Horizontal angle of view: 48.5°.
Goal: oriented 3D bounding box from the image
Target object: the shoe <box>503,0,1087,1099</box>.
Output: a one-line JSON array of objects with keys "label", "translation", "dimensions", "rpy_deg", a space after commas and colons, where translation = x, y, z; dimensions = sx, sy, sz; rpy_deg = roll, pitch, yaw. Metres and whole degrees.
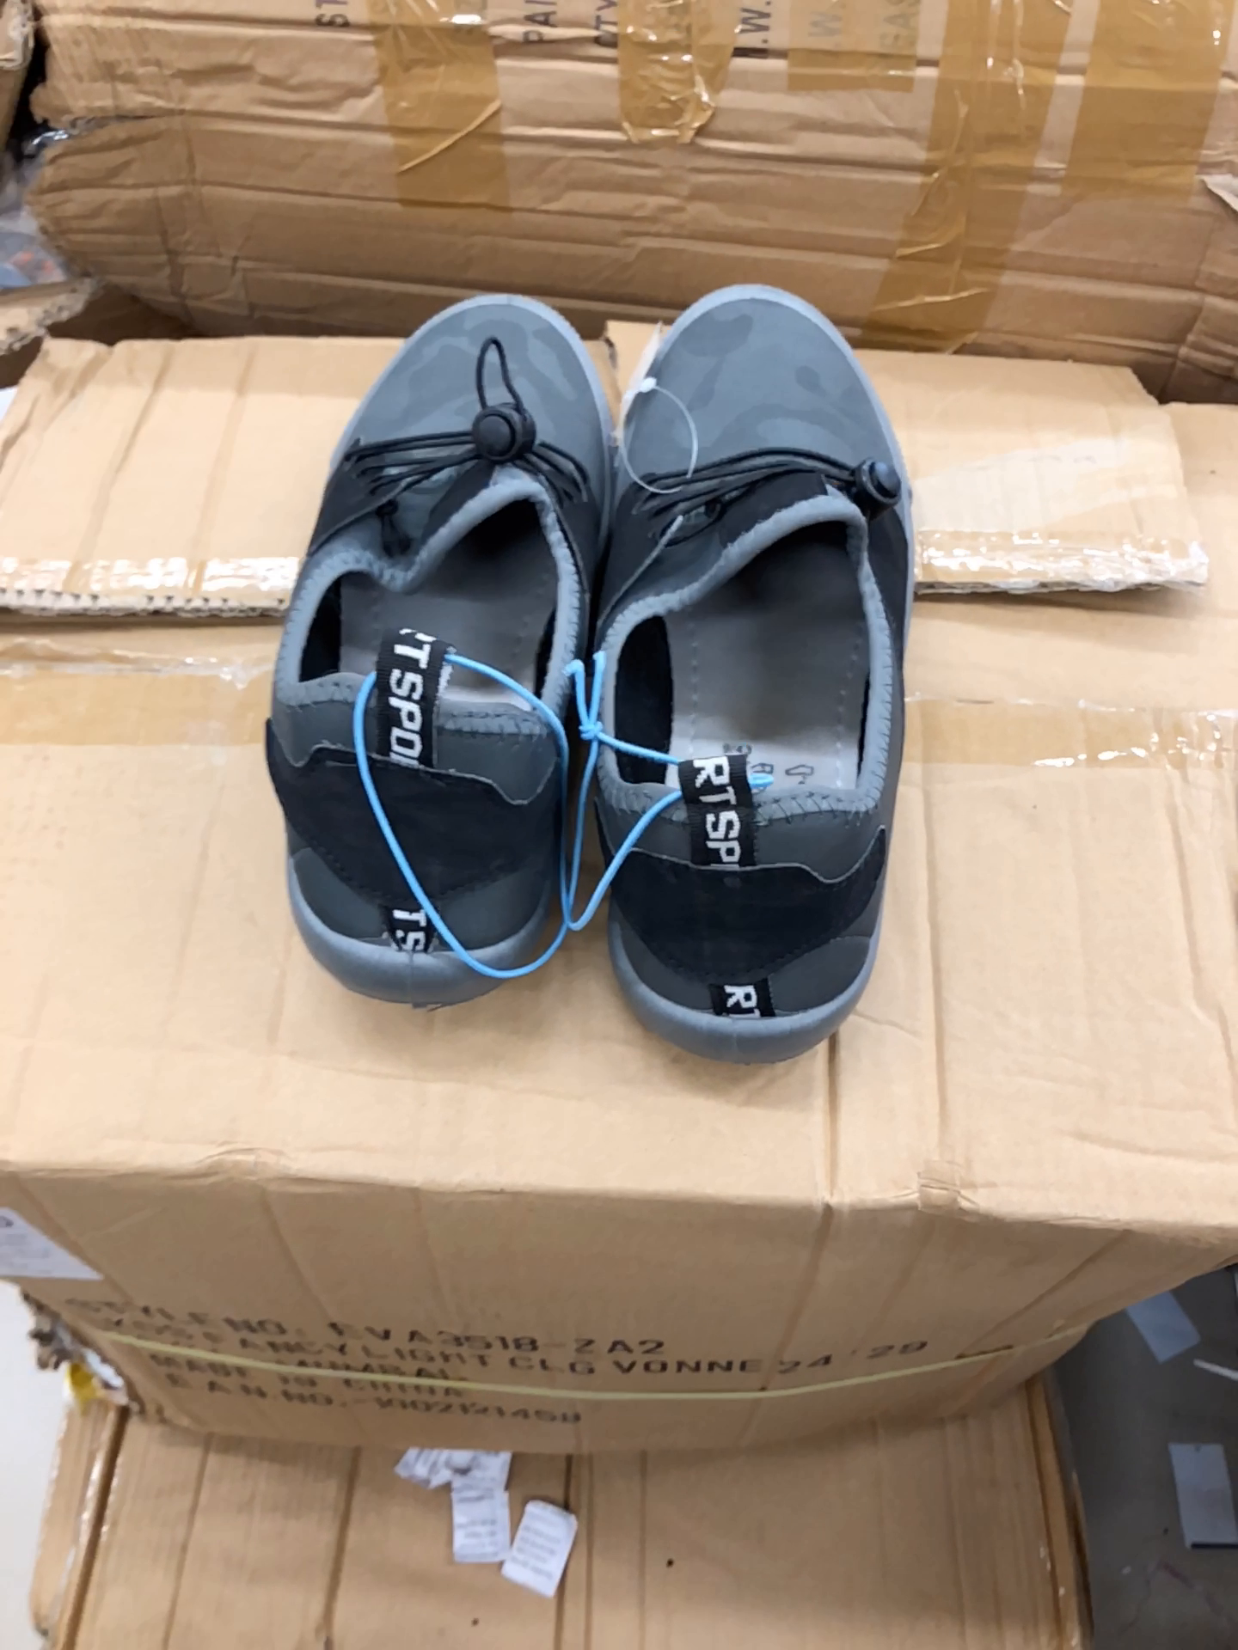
[{"label": "shoe", "translation": [0.043, -0.092, 0.396], "dimensions": [0.110, 0.129, 0.302], "rpy_deg": [4, 57, 1]}]

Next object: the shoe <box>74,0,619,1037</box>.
[{"label": "shoe", "translation": [-0.058, -0.104, 0.433], "dimensions": [0.110, 0.149, 0.302], "rpy_deg": [1, 57, 0]}]
